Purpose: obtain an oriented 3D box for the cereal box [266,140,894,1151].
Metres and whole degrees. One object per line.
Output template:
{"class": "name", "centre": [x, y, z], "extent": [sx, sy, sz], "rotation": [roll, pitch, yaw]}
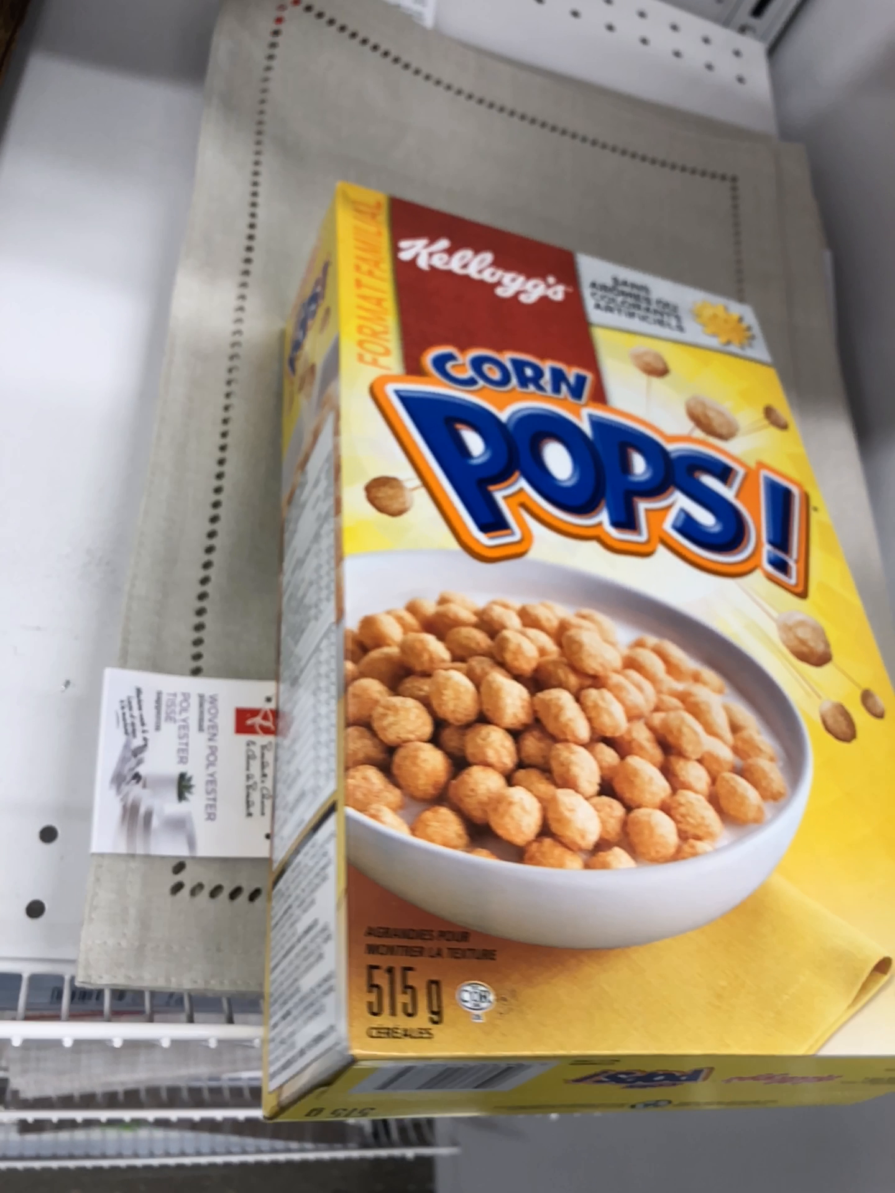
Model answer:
{"class": "cereal box", "centre": [0.057, 0.004, 0.373], "extent": [0.221, 0.080, 0.340], "rotation": [12, 53, -23]}
